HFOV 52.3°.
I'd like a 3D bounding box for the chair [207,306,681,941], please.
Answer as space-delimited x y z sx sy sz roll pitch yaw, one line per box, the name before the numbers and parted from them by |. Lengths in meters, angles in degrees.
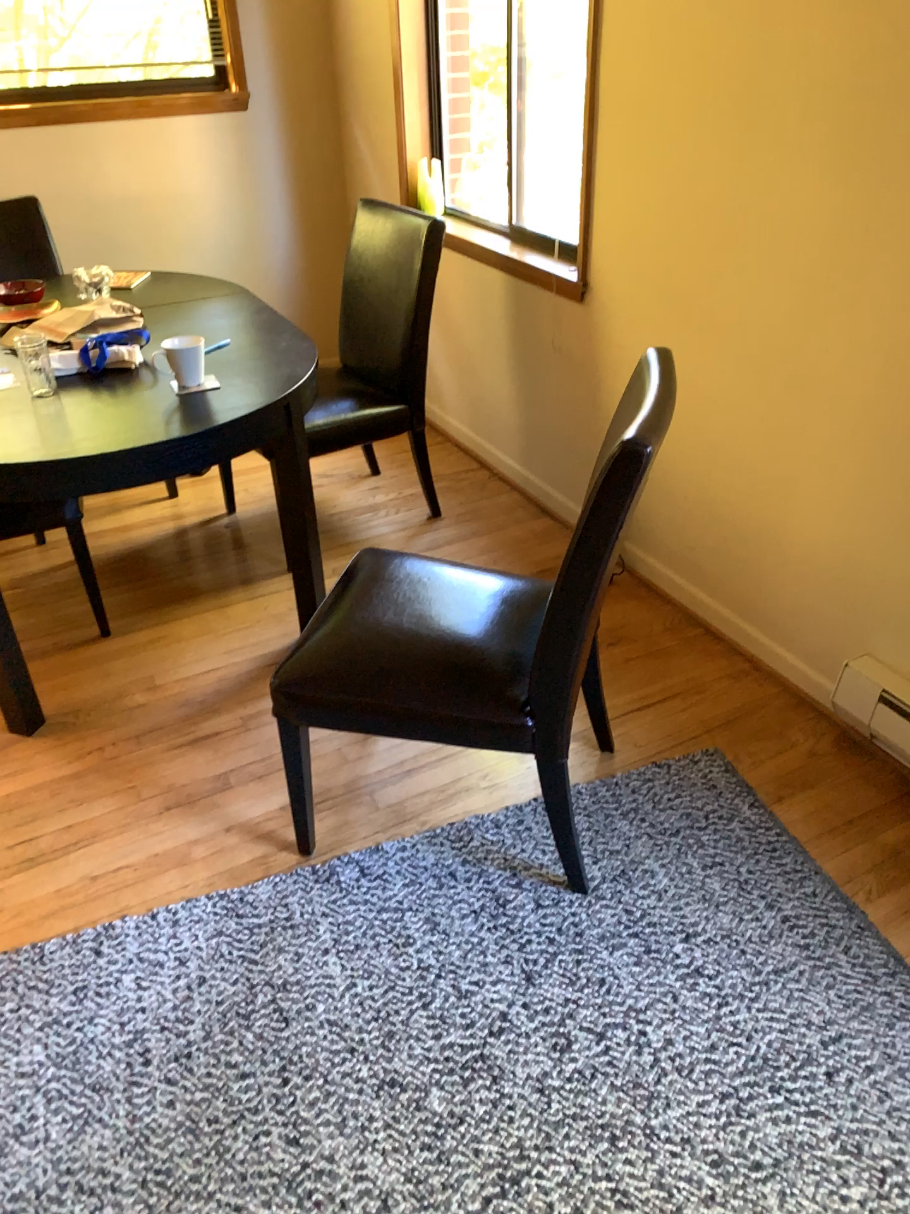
chair | 0.038 0.025 1.810 0.671 1.034 0.563 6 33 12
